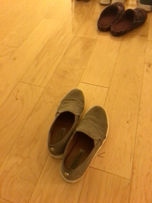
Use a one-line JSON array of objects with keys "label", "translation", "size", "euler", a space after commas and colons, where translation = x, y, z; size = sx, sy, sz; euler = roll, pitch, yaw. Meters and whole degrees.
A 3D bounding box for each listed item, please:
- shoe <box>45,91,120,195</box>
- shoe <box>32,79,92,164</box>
[{"label": "shoe", "translation": [0.035, 0.112, 0.521], "size": [0.110, 0.080, 0.292], "euler": [21, 57, 17]}, {"label": "shoe", "translation": [-0.033, 0.052, 0.558], "size": [0.100, 0.070, 0.272], "euler": [14, 55, 12]}]
